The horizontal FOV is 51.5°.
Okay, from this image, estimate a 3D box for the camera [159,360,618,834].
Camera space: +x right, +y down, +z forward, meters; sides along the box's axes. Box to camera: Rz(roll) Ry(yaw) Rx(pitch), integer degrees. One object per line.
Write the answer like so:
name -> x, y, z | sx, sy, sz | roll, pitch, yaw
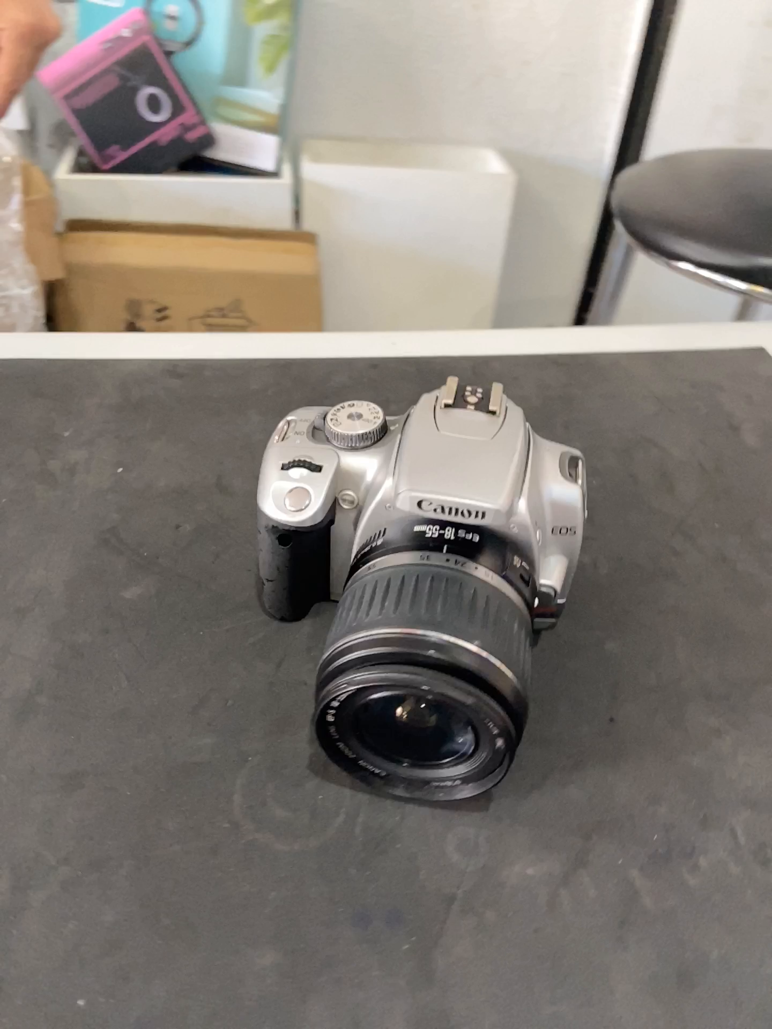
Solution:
camera -> 0.006, 0.020, 0.287 | 0.120, 0.079, 0.141 | 6, 39, 4
